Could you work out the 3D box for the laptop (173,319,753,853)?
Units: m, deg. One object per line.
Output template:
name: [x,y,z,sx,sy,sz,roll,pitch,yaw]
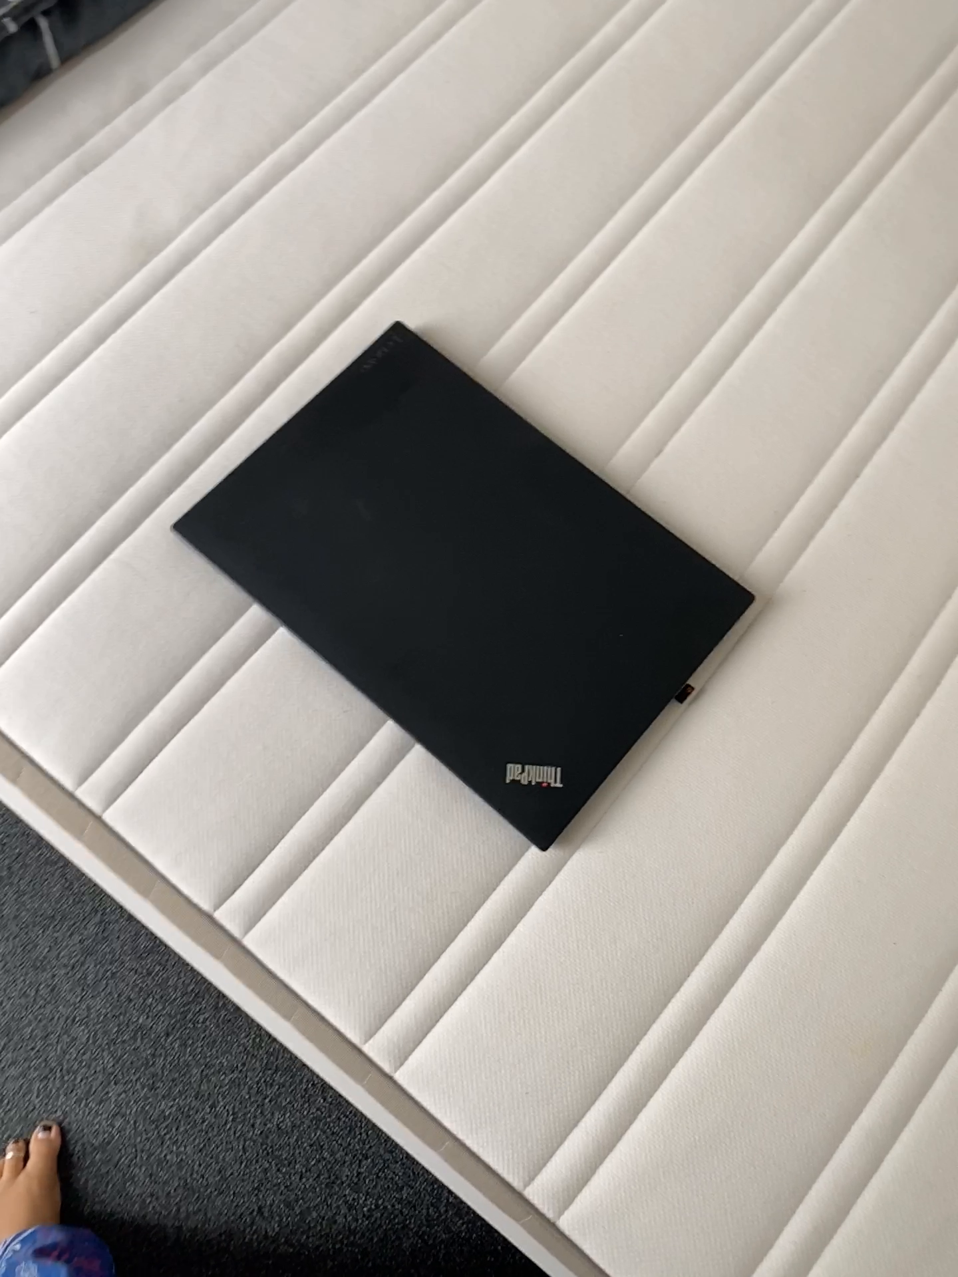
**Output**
laptop: [-0.010,-0.043,0.584,0.288,0.005,0.193,40,76,9]
